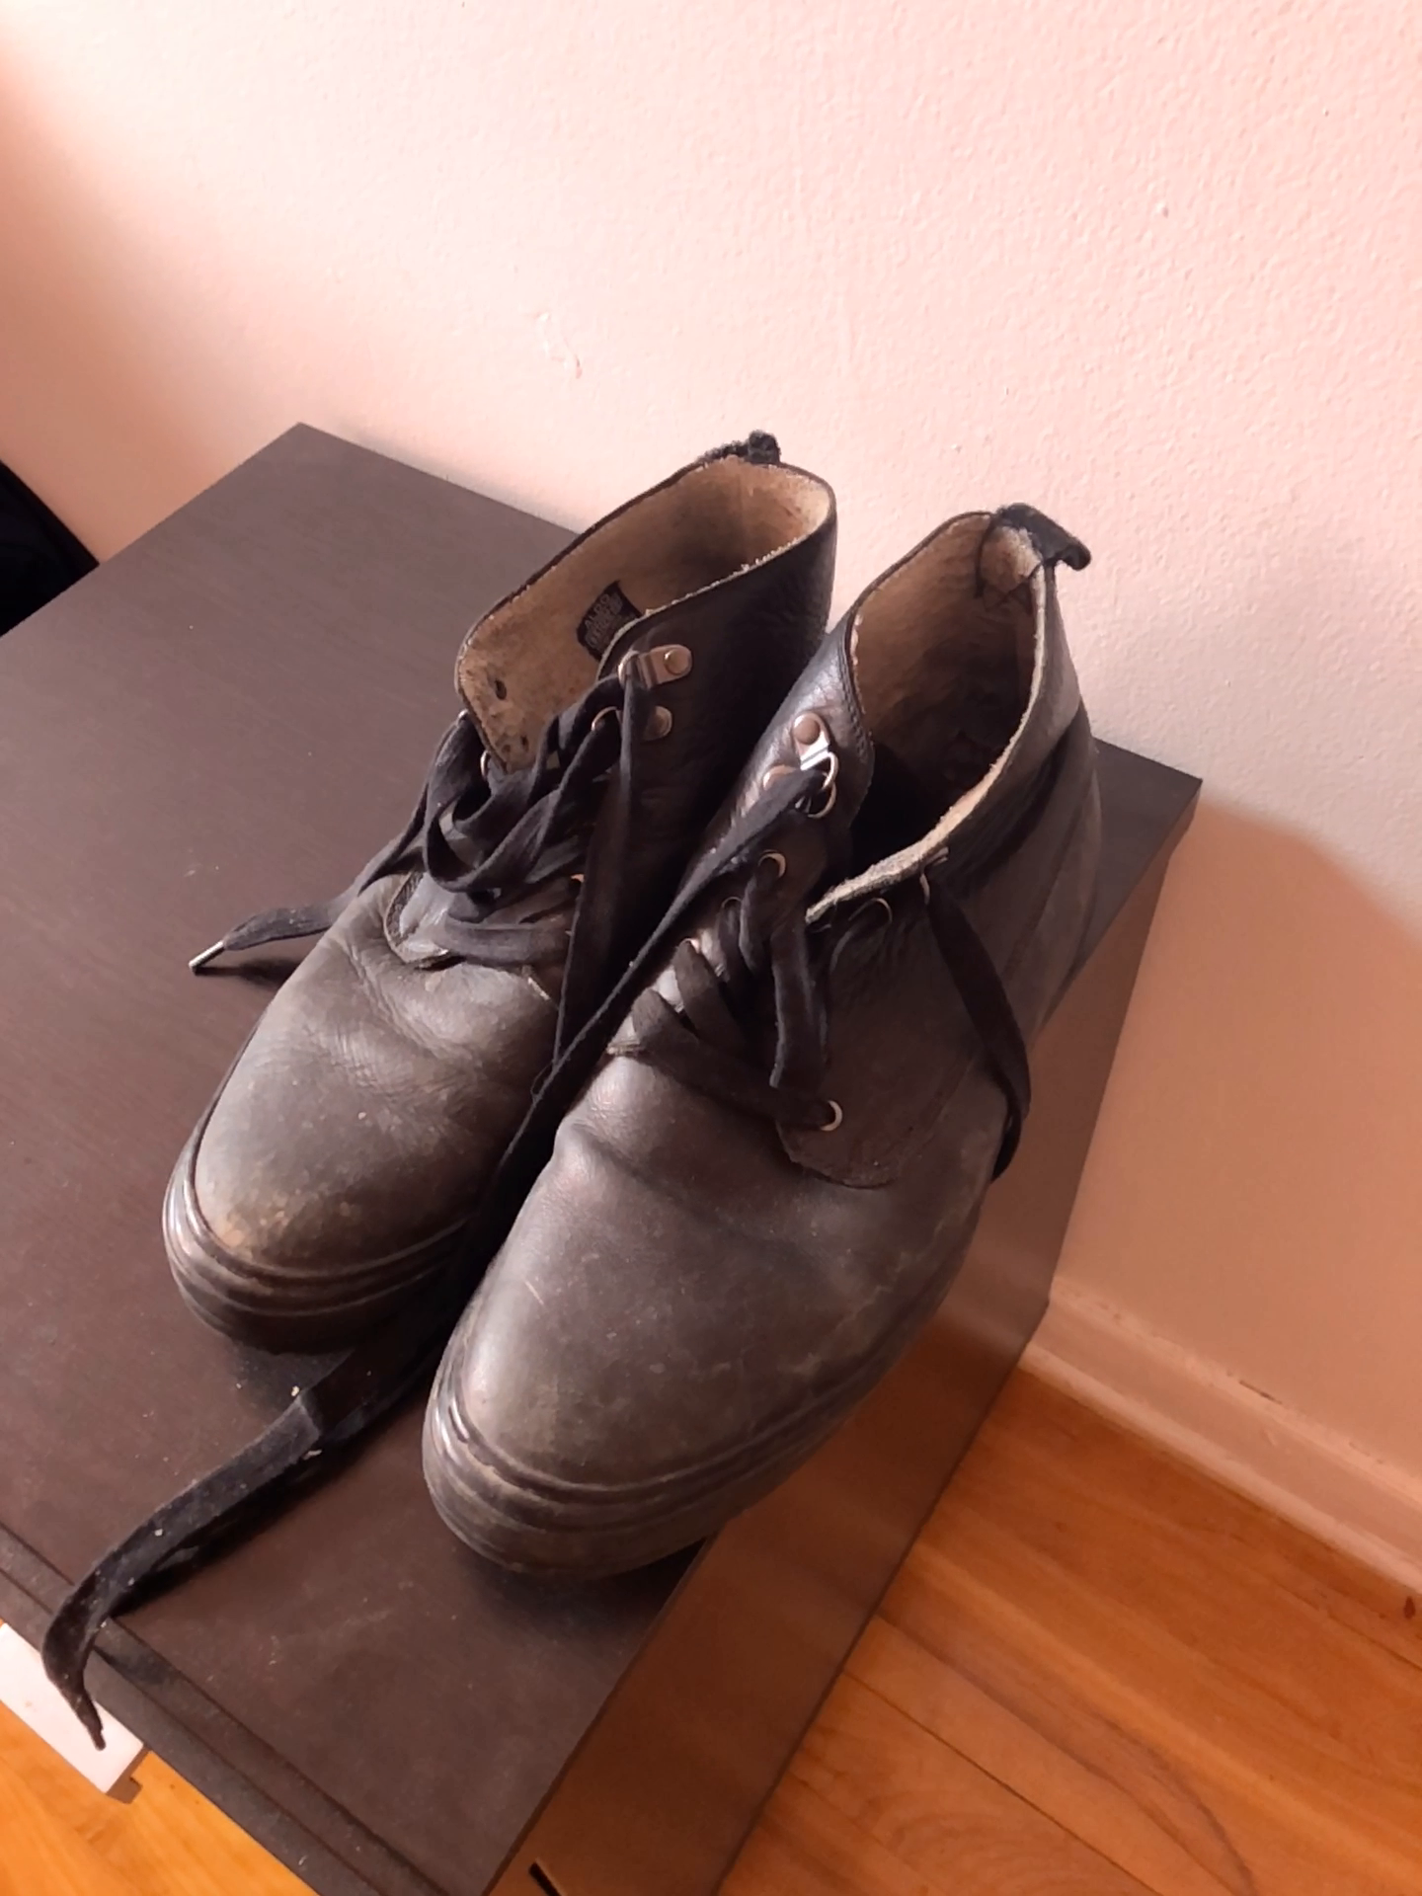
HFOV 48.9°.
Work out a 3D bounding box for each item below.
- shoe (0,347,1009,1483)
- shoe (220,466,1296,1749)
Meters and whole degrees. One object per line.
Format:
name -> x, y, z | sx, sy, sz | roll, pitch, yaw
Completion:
shoe -> -0.052, -0.034, 0.468 | 0.120, 0.109, 0.342 | 27, 57, 22
shoe -> 0.038, 0.017, 0.440 | 0.120, 0.109, 0.342 | 24, 56, 20
